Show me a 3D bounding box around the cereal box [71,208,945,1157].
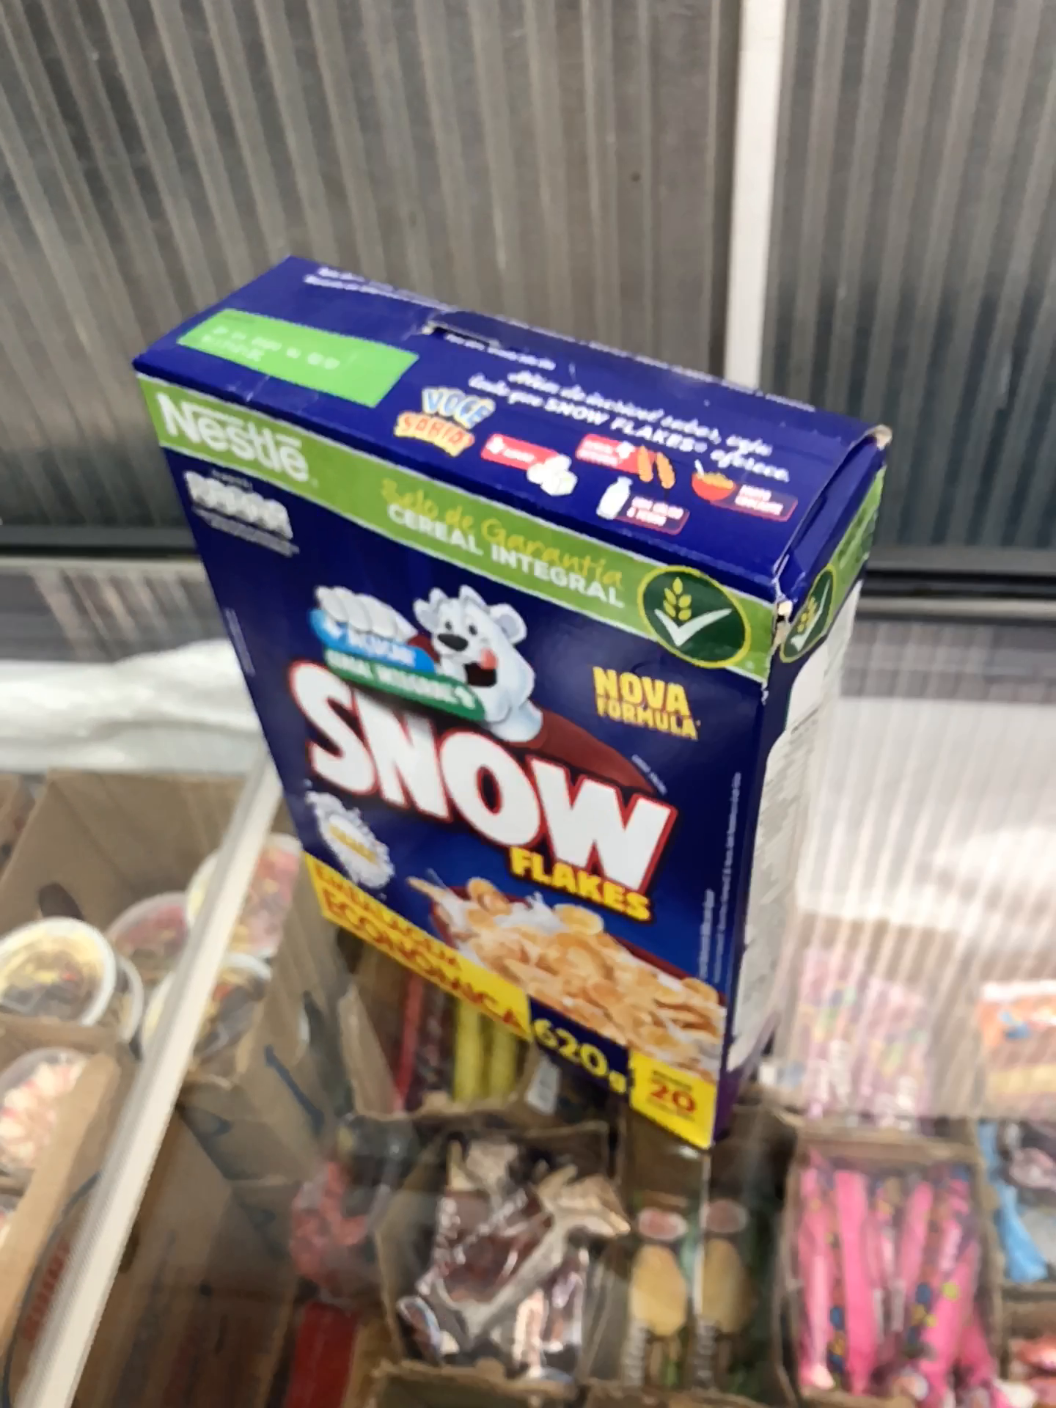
[{"bbox_3d":[-0.004,0.011,0.423,0.231,0.308,0.070,25,56,25],"label":"cereal box"}]
